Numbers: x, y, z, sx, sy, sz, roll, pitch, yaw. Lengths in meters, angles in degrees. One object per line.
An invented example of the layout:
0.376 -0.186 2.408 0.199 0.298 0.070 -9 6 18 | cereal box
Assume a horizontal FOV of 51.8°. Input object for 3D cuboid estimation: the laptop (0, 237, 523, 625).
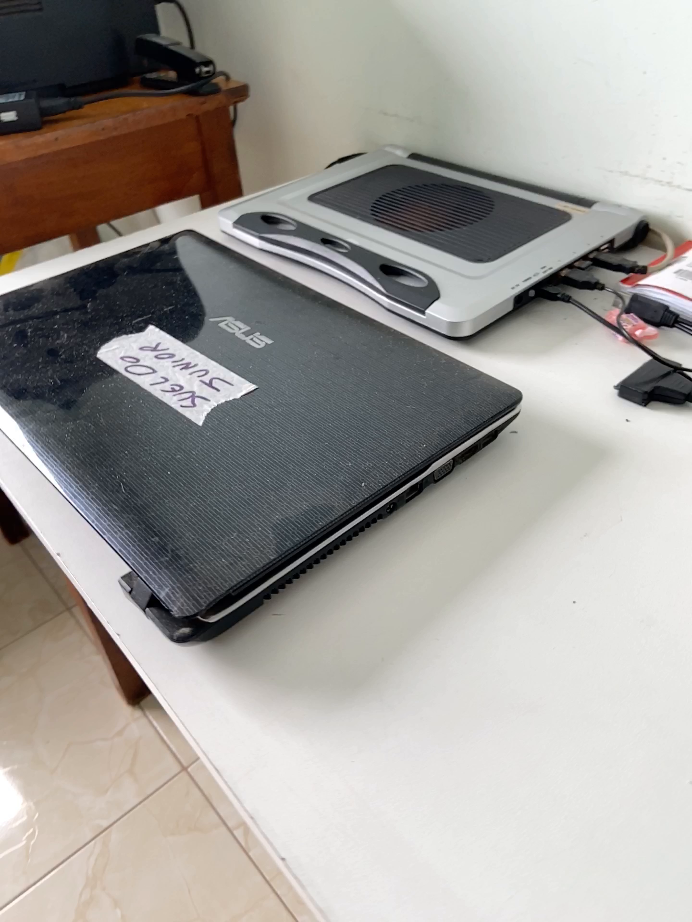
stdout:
-0.108 -0.065 0.466 0.237 0.001 0.363 -32 47 -30 | laptop
